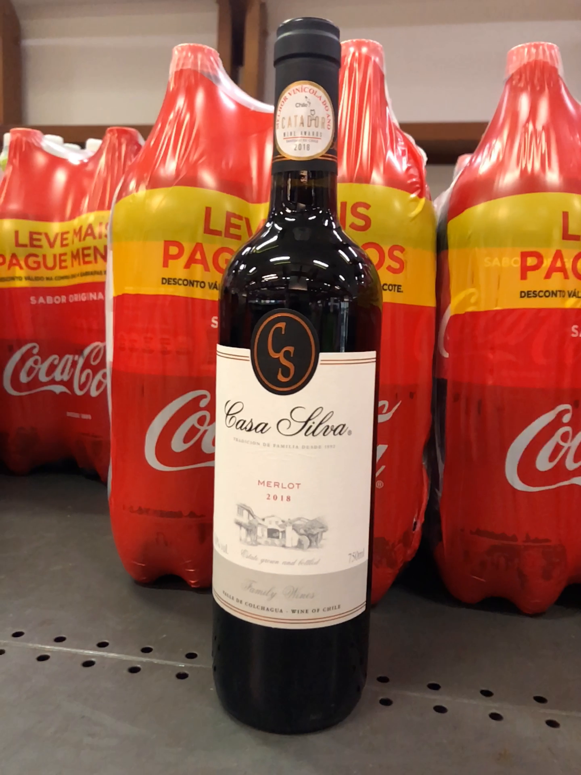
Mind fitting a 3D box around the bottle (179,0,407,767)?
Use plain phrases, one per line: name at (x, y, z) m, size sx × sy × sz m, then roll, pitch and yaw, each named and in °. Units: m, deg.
bottle at (0.002, -0.003, 0.290) m, size 0.080 × 0.309 × 0.070 m, roll 3°, pitch 7°, yaw 9°
